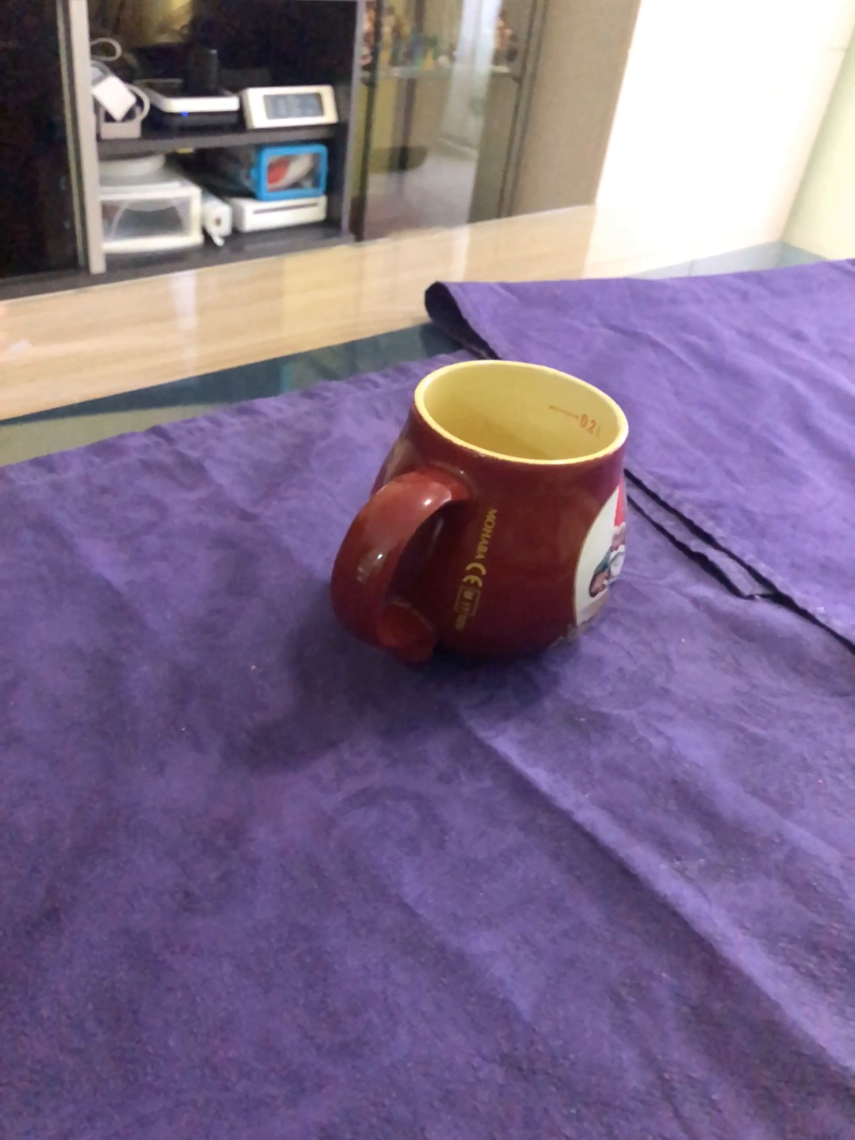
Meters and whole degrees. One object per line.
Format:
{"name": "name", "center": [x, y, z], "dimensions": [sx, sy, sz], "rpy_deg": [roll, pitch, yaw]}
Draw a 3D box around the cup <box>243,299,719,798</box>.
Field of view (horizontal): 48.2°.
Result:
{"name": "cup", "center": [0.016, -0.015, 0.297], "dimensions": [0.080, 0.090, 0.120], "rpy_deg": [30, 41, 26]}
